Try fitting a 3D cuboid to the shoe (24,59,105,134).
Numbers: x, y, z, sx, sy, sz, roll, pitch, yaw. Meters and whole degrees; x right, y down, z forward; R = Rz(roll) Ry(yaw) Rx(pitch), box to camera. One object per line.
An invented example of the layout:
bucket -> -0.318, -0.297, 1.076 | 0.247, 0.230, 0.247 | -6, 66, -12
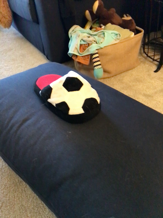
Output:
shoe -> -0.051, -0.046, 0.477 | 0.108, 0.072, 0.213 | -30, 48, -25
